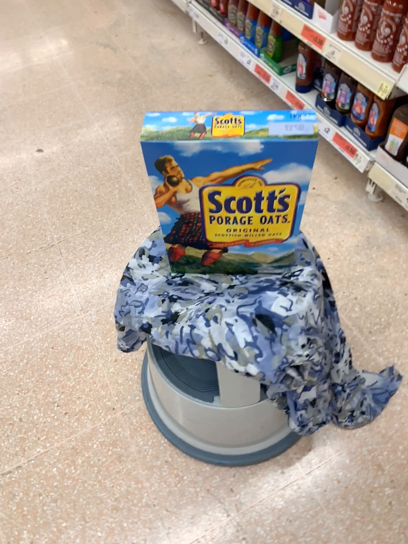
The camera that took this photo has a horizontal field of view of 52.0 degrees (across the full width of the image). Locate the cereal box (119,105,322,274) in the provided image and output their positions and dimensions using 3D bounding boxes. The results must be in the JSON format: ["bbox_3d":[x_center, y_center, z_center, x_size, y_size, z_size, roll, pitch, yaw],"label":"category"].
[{"bbox_3d":[0.025,-0.091,0.551,0.210,0.248,0.060,1,58,6],"label":"cereal box"}]
